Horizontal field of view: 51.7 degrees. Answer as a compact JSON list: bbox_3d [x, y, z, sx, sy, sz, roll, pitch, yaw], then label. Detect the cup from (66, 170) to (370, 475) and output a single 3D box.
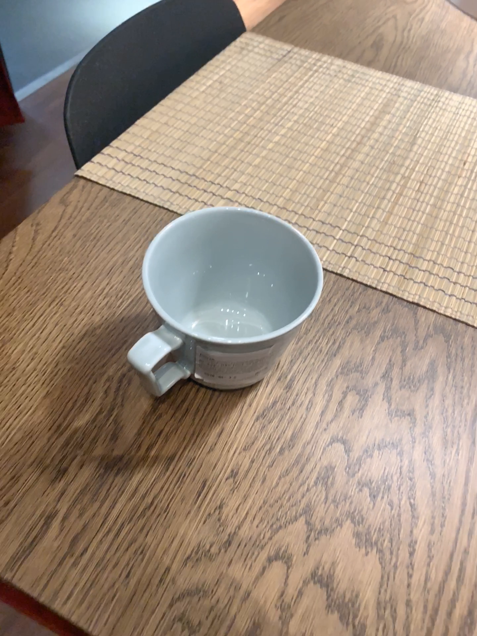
[{"bbox_3d":[-0.012,-0.002,0.325,0.110,0.100,0.140,38,58,21],"label":"cup"}]
